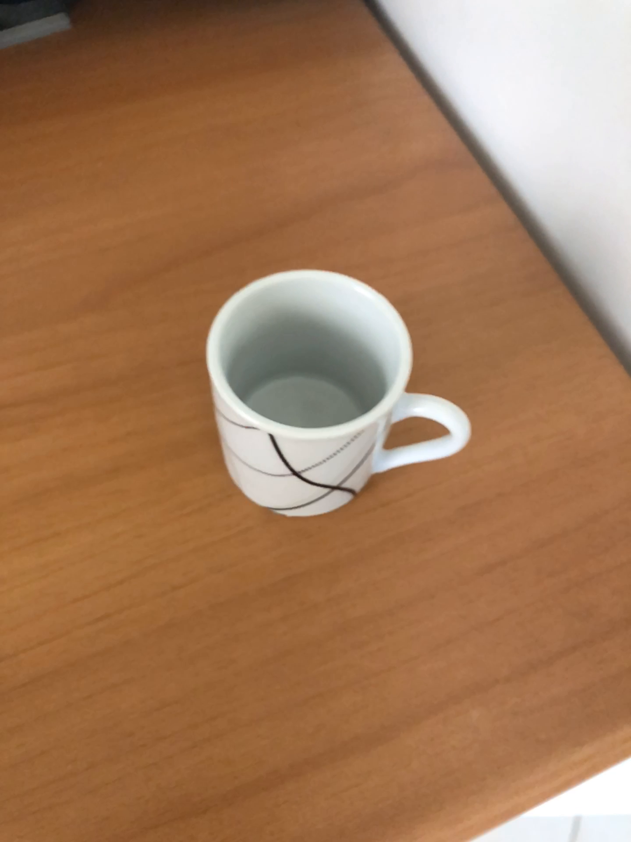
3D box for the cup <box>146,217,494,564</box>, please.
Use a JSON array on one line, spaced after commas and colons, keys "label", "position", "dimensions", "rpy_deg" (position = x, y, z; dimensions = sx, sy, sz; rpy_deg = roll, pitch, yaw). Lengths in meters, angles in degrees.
[{"label": "cup", "position": [0.002, -0.007, 0.194], "dimensions": [0.070, 0.050, 0.060], "rpy_deg": [17, 61, 4]}]
